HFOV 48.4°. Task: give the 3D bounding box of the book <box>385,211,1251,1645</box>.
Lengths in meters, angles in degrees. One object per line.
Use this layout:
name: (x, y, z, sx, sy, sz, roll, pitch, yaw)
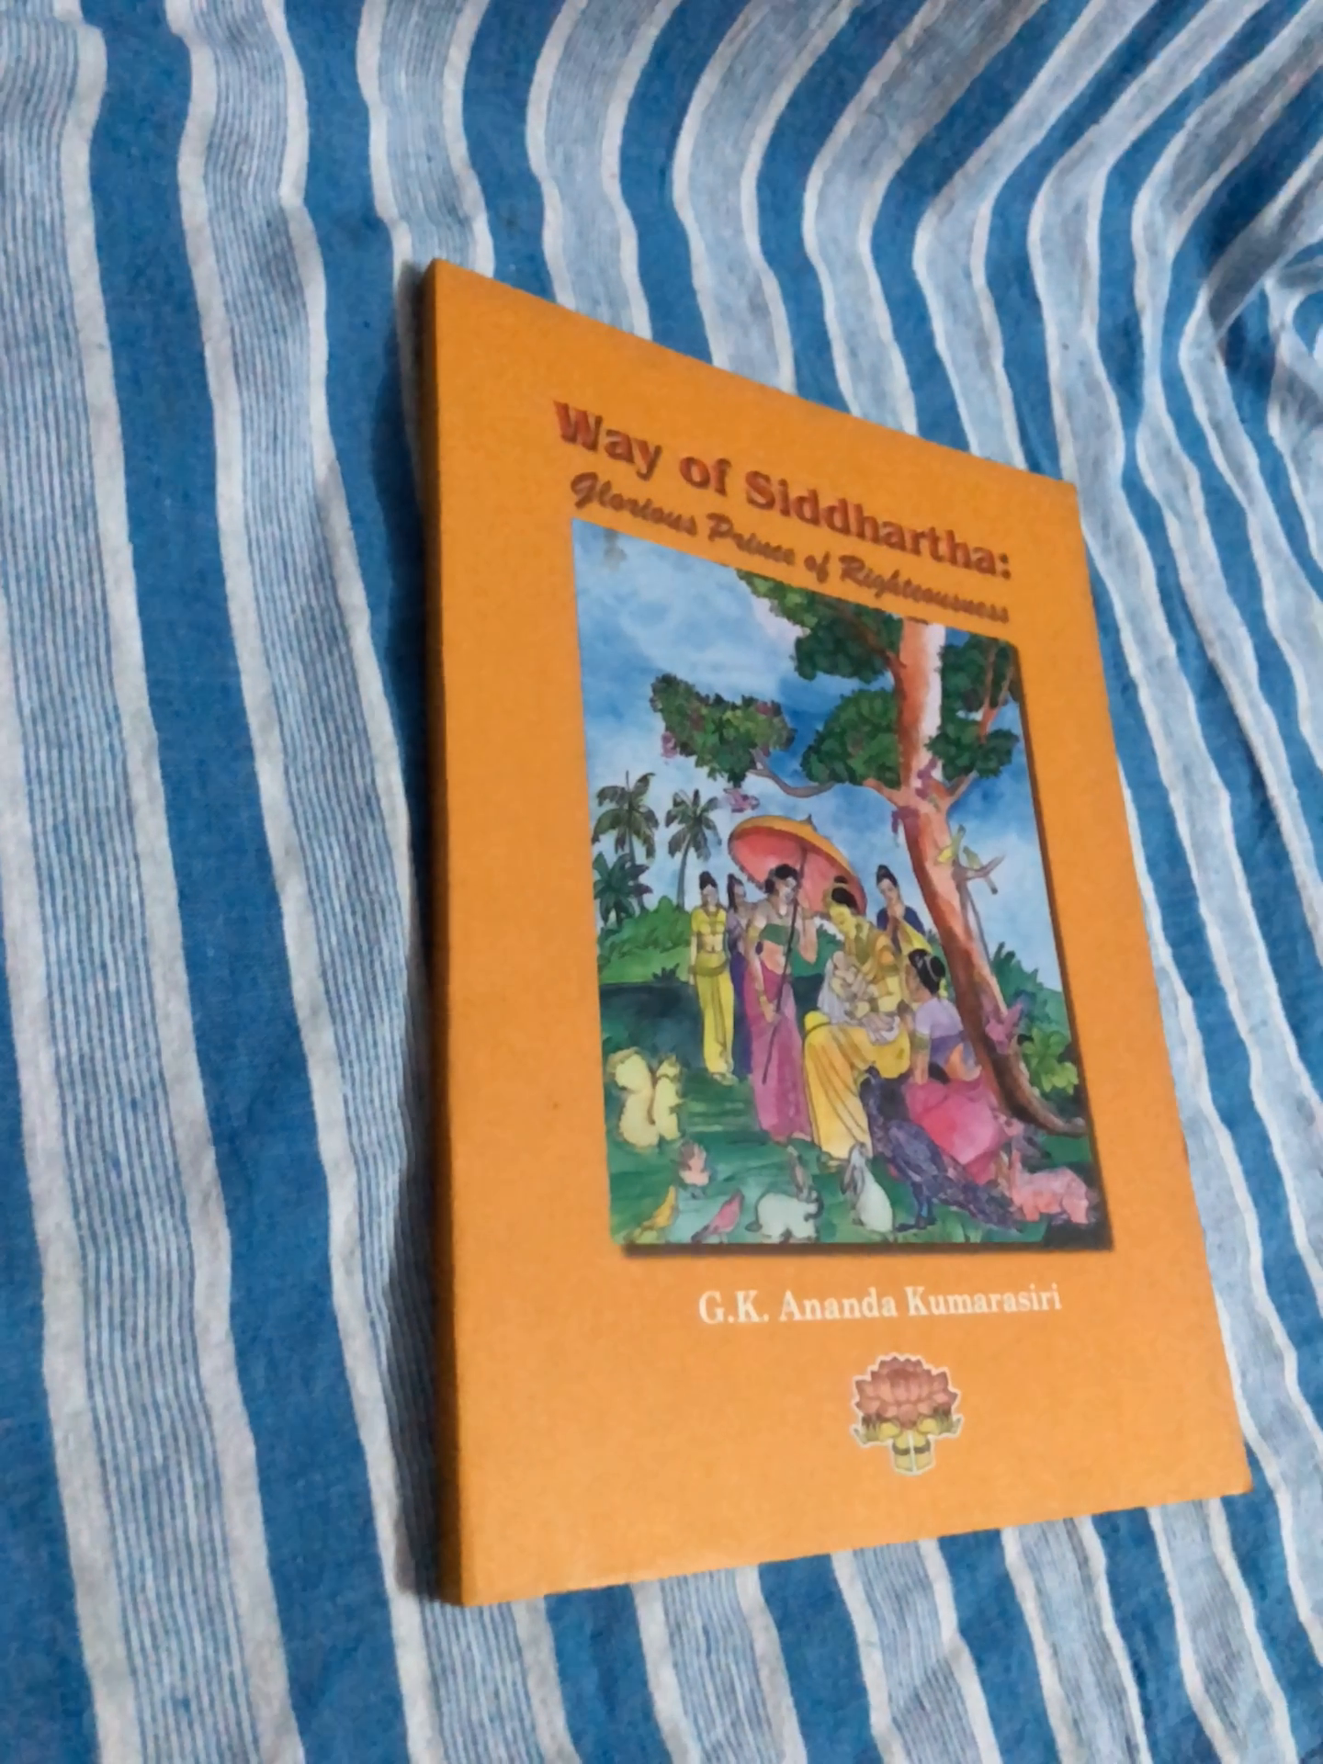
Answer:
book: (0.031, 0.001, 0.276, 0.171, 0.010, 0.230, 8, 67, -34)
